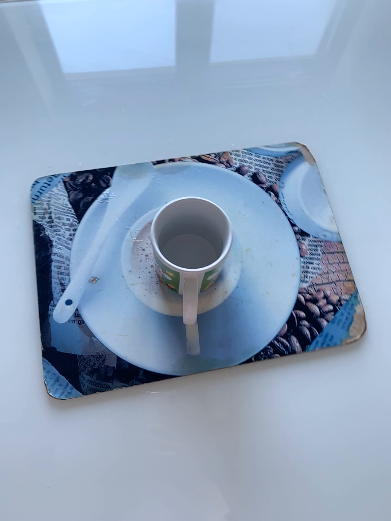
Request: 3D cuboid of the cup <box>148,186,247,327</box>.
[{"bbox_3d":[0.000,-0.001,0.434,0.094,0.077,0.133,1,71,-3],"label":"cup"}]
